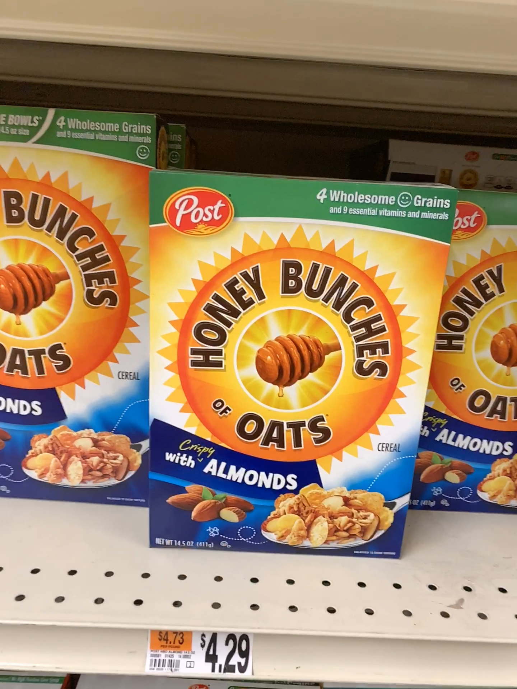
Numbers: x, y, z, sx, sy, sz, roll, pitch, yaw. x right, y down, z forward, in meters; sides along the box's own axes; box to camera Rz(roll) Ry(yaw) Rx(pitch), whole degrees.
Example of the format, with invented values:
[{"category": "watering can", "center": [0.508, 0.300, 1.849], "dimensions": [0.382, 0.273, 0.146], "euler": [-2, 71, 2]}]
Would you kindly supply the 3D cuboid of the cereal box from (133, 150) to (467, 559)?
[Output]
[{"category": "cereal box", "center": [0.017, 0.014, 0.386], "dimensions": [0.200, 0.279, 0.060], "euler": [3, 17, -1]}]
